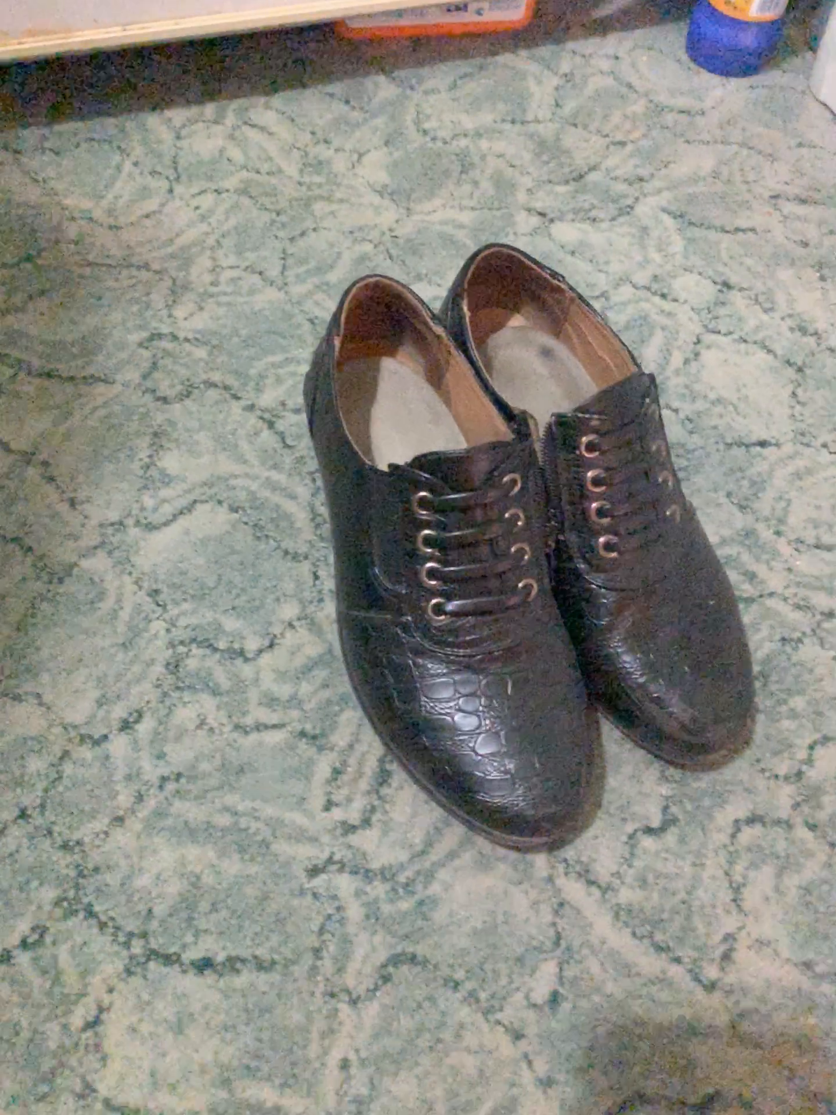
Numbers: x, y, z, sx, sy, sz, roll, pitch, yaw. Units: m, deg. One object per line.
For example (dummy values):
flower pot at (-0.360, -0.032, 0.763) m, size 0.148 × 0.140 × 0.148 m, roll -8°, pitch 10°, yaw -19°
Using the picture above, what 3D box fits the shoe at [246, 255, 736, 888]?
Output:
shoe at (0.011, 0.002, 0.361) m, size 0.090 × 0.119 × 0.221 m, roll -19°, pitch 62°, yaw -16°

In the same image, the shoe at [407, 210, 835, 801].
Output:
shoe at (0.086, -0.025, 0.374) m, size 0.090 × 0.119 × 0.211 m, roll -22°, pitch 63°, yaw -17°
